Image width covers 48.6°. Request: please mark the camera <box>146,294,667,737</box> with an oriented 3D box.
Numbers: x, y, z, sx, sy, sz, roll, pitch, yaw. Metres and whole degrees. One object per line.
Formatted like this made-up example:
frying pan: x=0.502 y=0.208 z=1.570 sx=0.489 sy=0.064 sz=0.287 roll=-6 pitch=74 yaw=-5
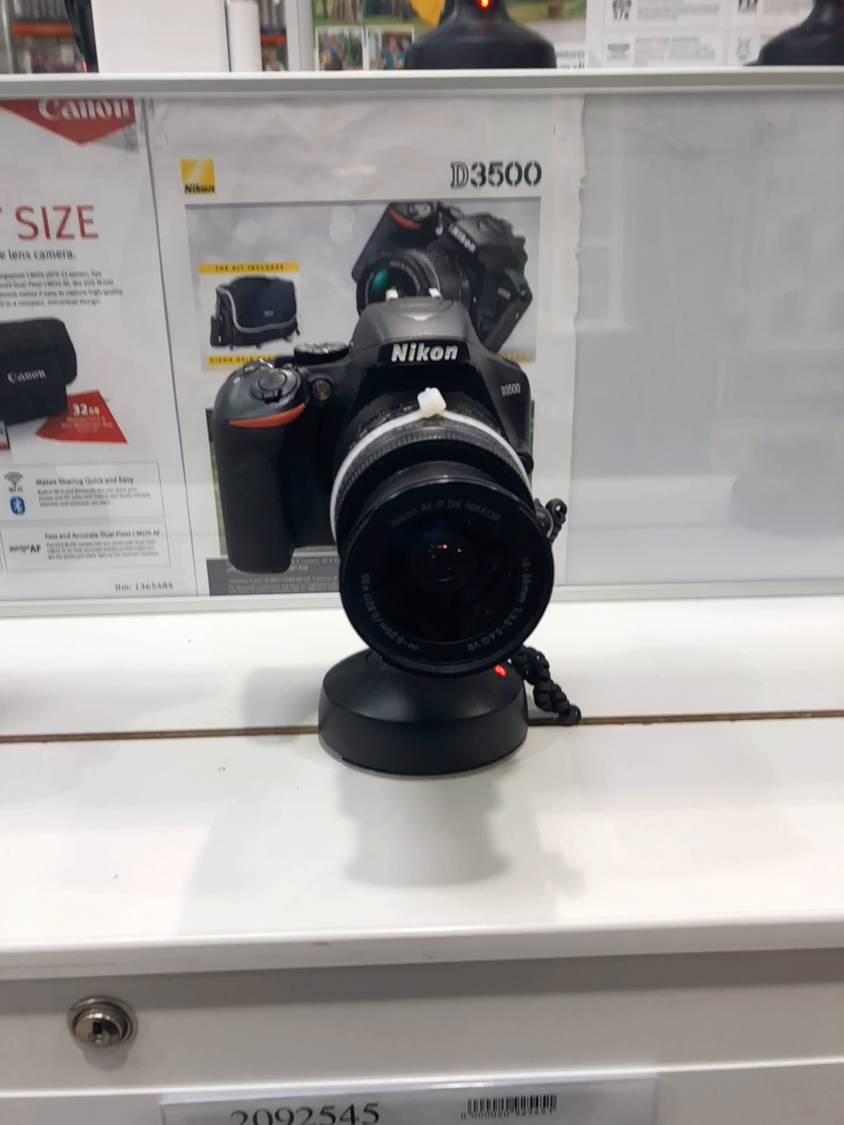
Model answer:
camera: x=-0.011 y=-0.036 z=0.358 sx=0.140 sy=0.110 sz=0.191 roll=-3 pitch=21 yaw=-5
